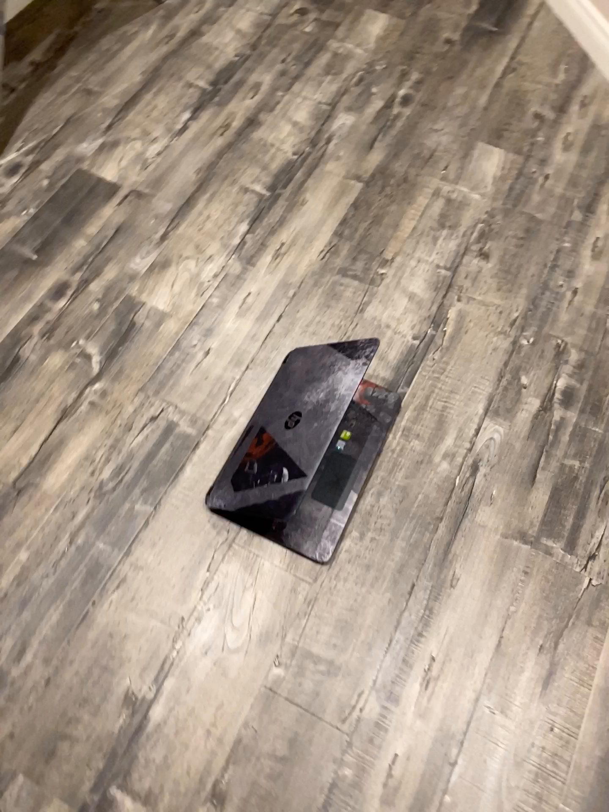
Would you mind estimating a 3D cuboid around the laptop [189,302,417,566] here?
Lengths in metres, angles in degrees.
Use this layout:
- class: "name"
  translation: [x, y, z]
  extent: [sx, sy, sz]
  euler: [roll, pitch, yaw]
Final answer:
- class: "laptop"
  translation: [0.006, 0.046, 1.124]
  extent: [0.250, 0.177, 0.375]
  euler: [23, 65, 10]
